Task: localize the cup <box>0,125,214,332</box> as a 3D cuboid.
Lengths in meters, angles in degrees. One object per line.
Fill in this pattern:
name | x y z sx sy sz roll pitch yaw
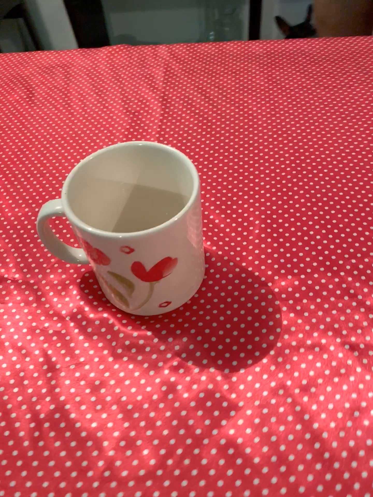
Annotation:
cup | -0.046 -0.010 0.254 0.120 0.090 0.090 -4 52 2
